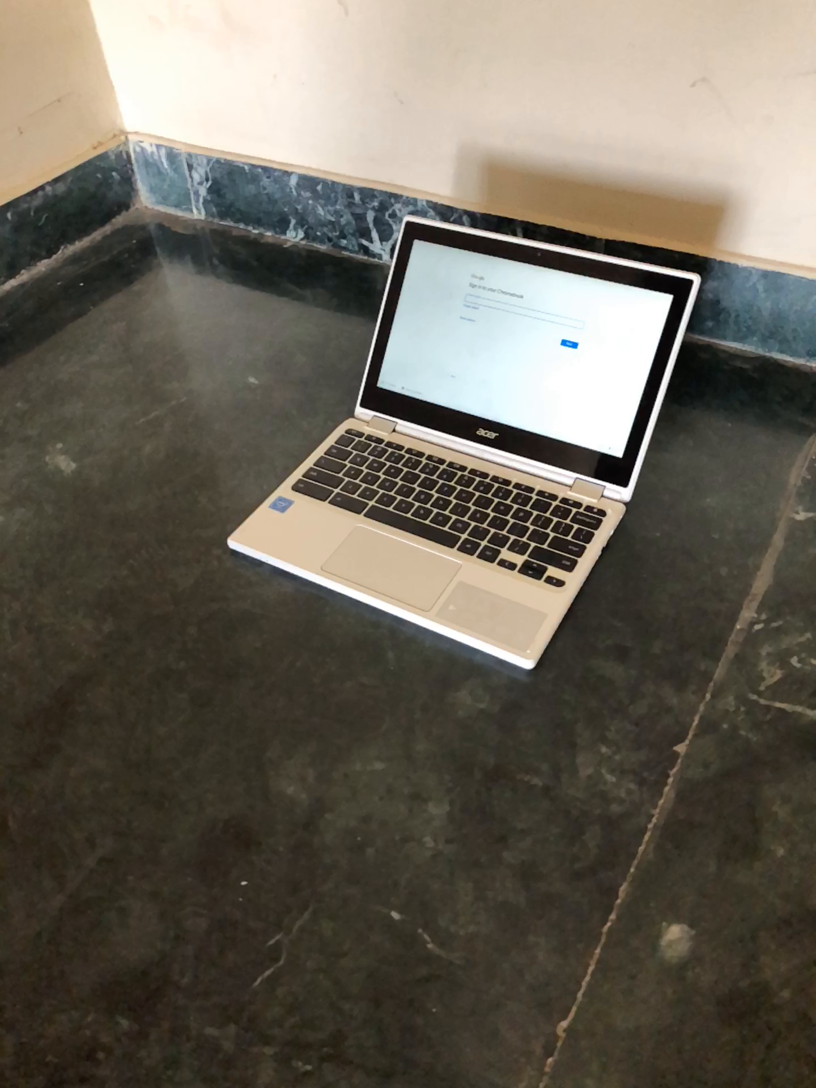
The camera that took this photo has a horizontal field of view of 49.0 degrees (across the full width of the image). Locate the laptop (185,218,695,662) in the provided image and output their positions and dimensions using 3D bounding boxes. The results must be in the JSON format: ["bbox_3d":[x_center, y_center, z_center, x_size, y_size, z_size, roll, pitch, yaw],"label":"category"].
[{"bbox_3d":[0.042,-0.111,0.752,0.280,0.156,0.315,20,49,22],"label":"laptop"}]
